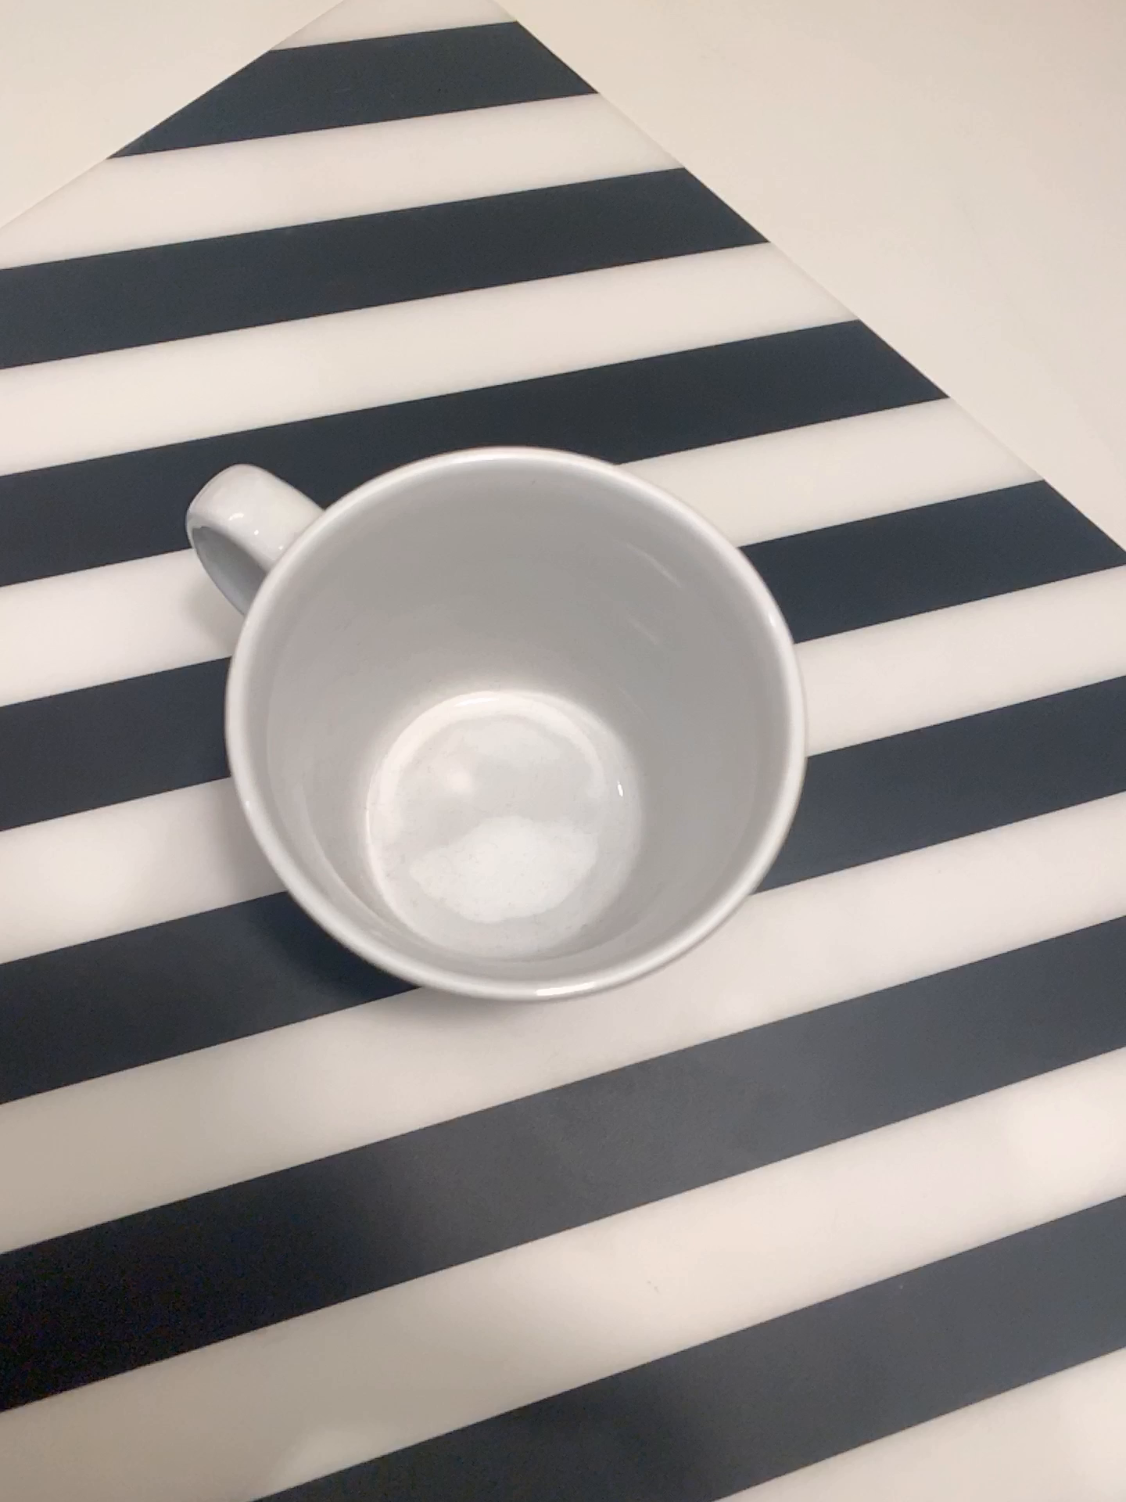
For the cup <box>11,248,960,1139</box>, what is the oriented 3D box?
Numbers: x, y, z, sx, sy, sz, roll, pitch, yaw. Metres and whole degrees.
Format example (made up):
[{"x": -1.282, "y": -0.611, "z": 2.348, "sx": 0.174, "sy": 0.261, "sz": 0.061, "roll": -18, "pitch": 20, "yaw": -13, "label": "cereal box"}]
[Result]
[{"x": -0.013, "y": -0.006, "z": 0.208, "sx": 0.110, "sy": 0.070, "sz": 0.090, "roll": 41, "pitch": 73, "yaw": 6, "label": "cup"}]
